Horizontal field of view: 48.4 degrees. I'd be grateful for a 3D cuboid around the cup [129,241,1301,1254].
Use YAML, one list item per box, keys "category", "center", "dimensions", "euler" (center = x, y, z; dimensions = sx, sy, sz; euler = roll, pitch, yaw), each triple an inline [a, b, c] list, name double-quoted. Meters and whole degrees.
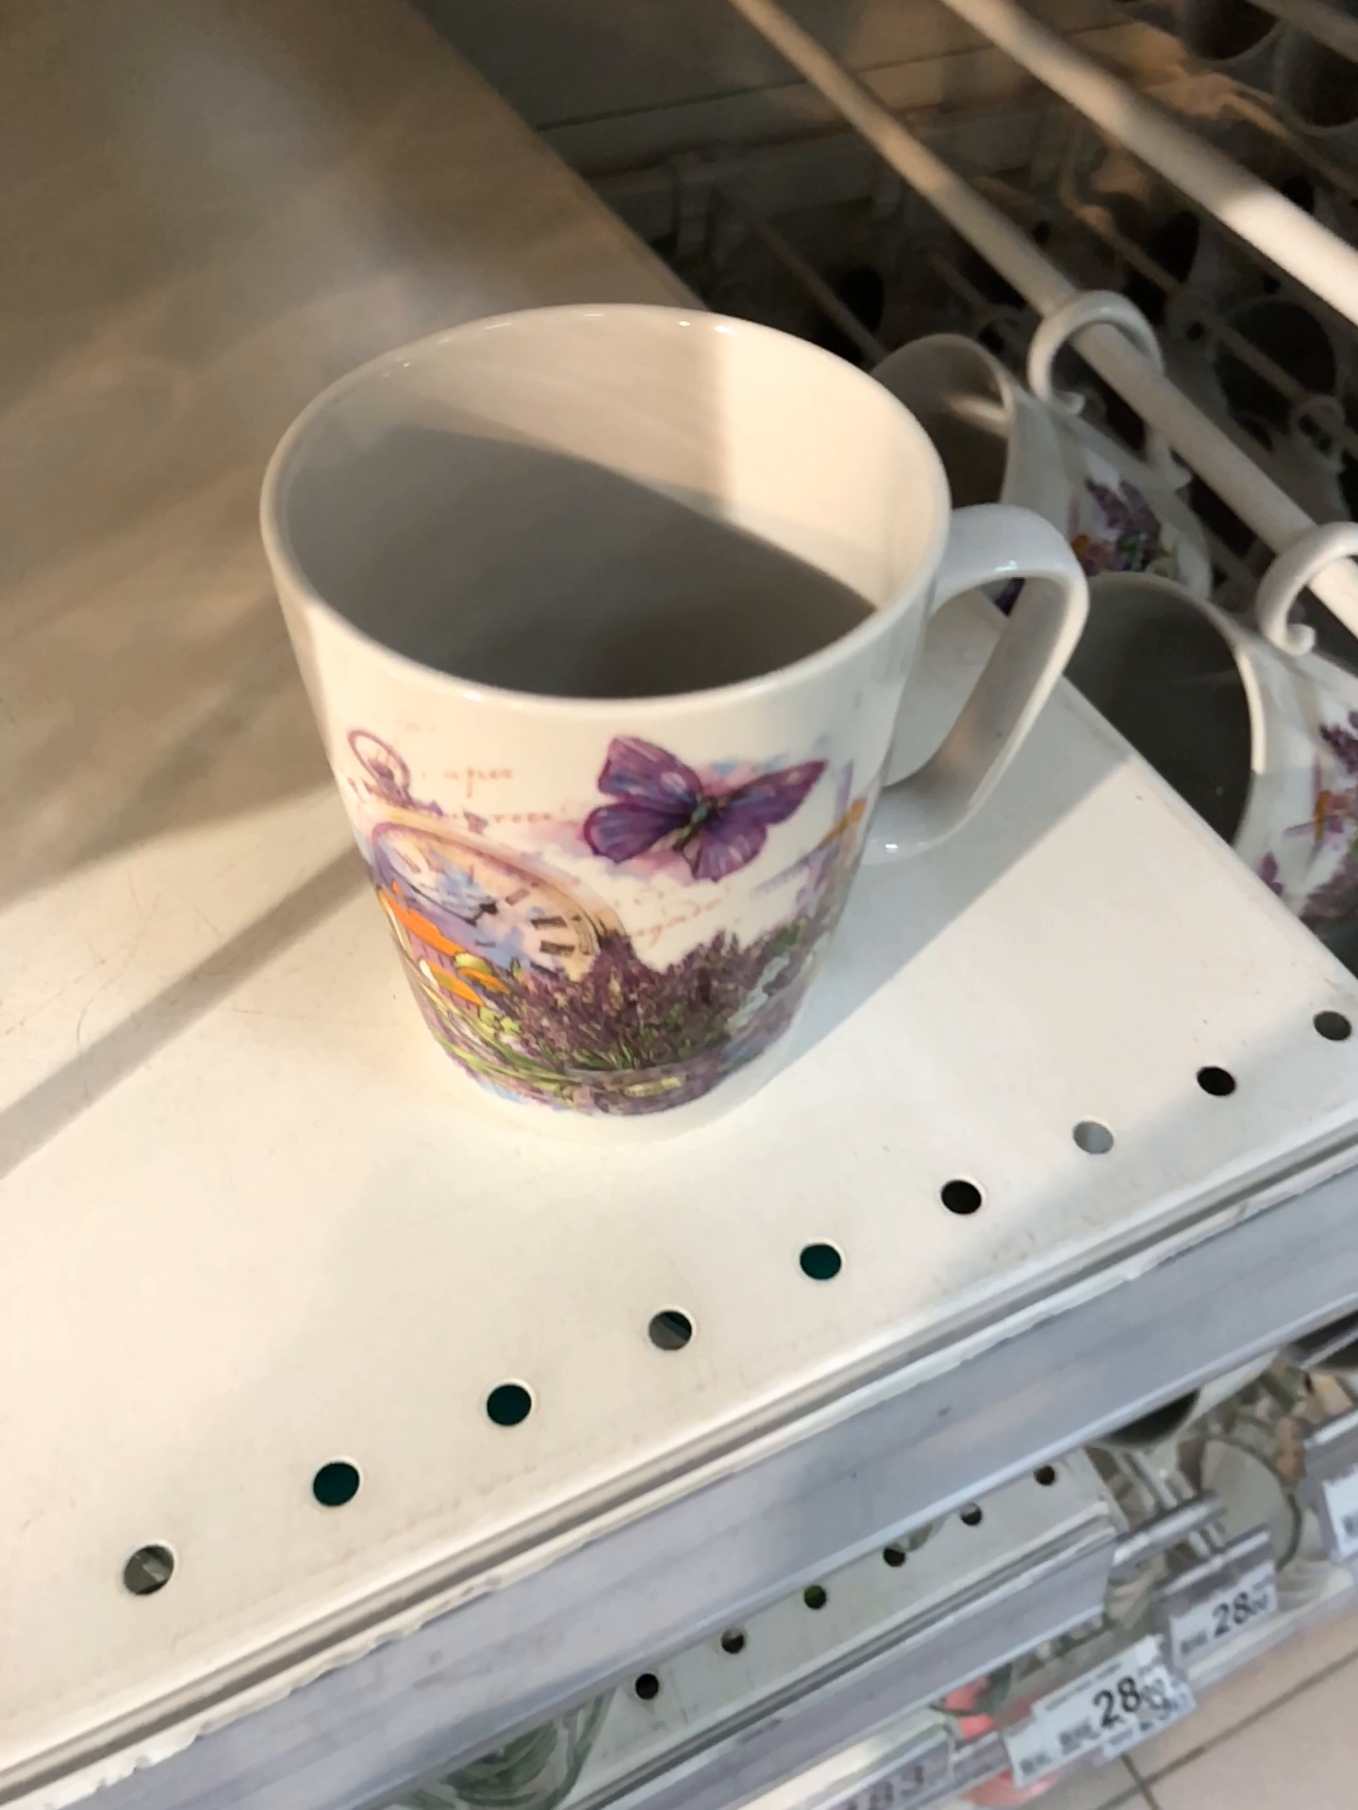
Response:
- category: "cup"
  center: [-0.002, -0.022, 0.214]
  dimensions: [0.119, 0.094, 0.082]
  euler: [-11, 53, -11]
